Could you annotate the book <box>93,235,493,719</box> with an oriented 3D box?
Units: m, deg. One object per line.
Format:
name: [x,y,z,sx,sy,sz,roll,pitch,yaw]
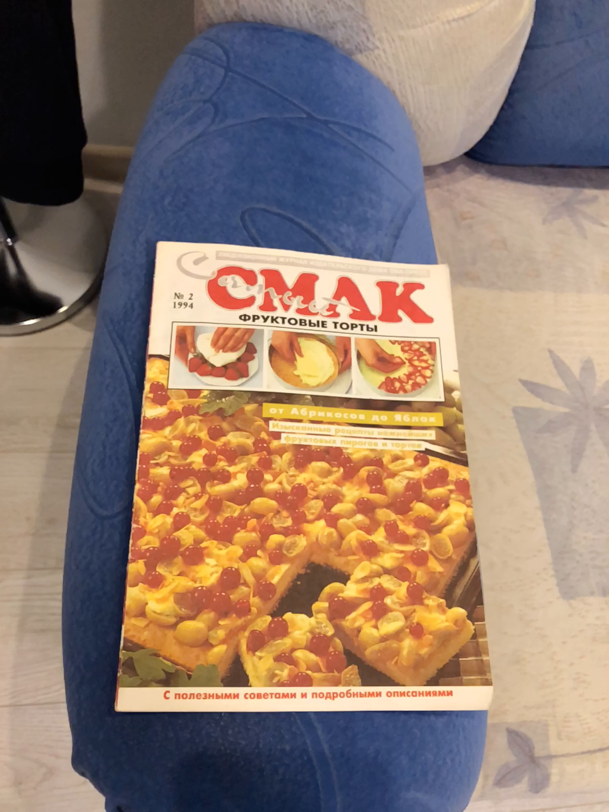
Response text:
book: [-0.002,0.025,0.334,0.172,0.010,0.236,3,69,-7]
